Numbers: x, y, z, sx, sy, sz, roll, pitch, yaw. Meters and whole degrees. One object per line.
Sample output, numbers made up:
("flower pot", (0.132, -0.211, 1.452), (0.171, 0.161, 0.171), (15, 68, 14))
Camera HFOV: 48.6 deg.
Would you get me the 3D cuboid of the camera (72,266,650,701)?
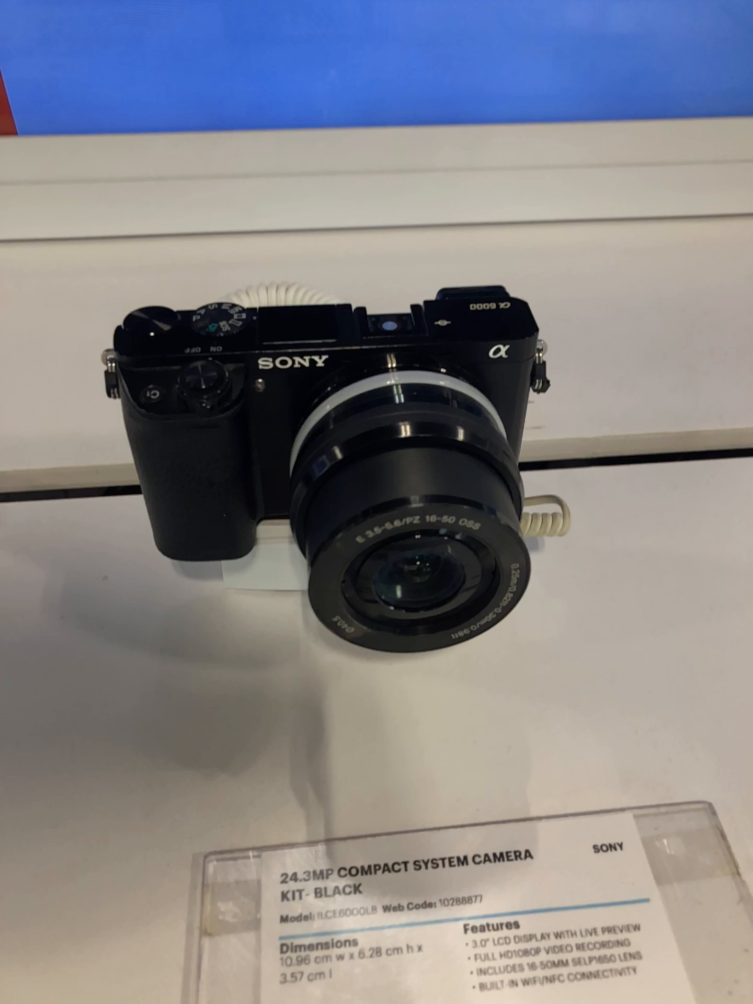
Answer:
("camera", (-0.008, -0.010, 0.246), (0.130, 0.070, 0.101), (-5, 43, -5))
